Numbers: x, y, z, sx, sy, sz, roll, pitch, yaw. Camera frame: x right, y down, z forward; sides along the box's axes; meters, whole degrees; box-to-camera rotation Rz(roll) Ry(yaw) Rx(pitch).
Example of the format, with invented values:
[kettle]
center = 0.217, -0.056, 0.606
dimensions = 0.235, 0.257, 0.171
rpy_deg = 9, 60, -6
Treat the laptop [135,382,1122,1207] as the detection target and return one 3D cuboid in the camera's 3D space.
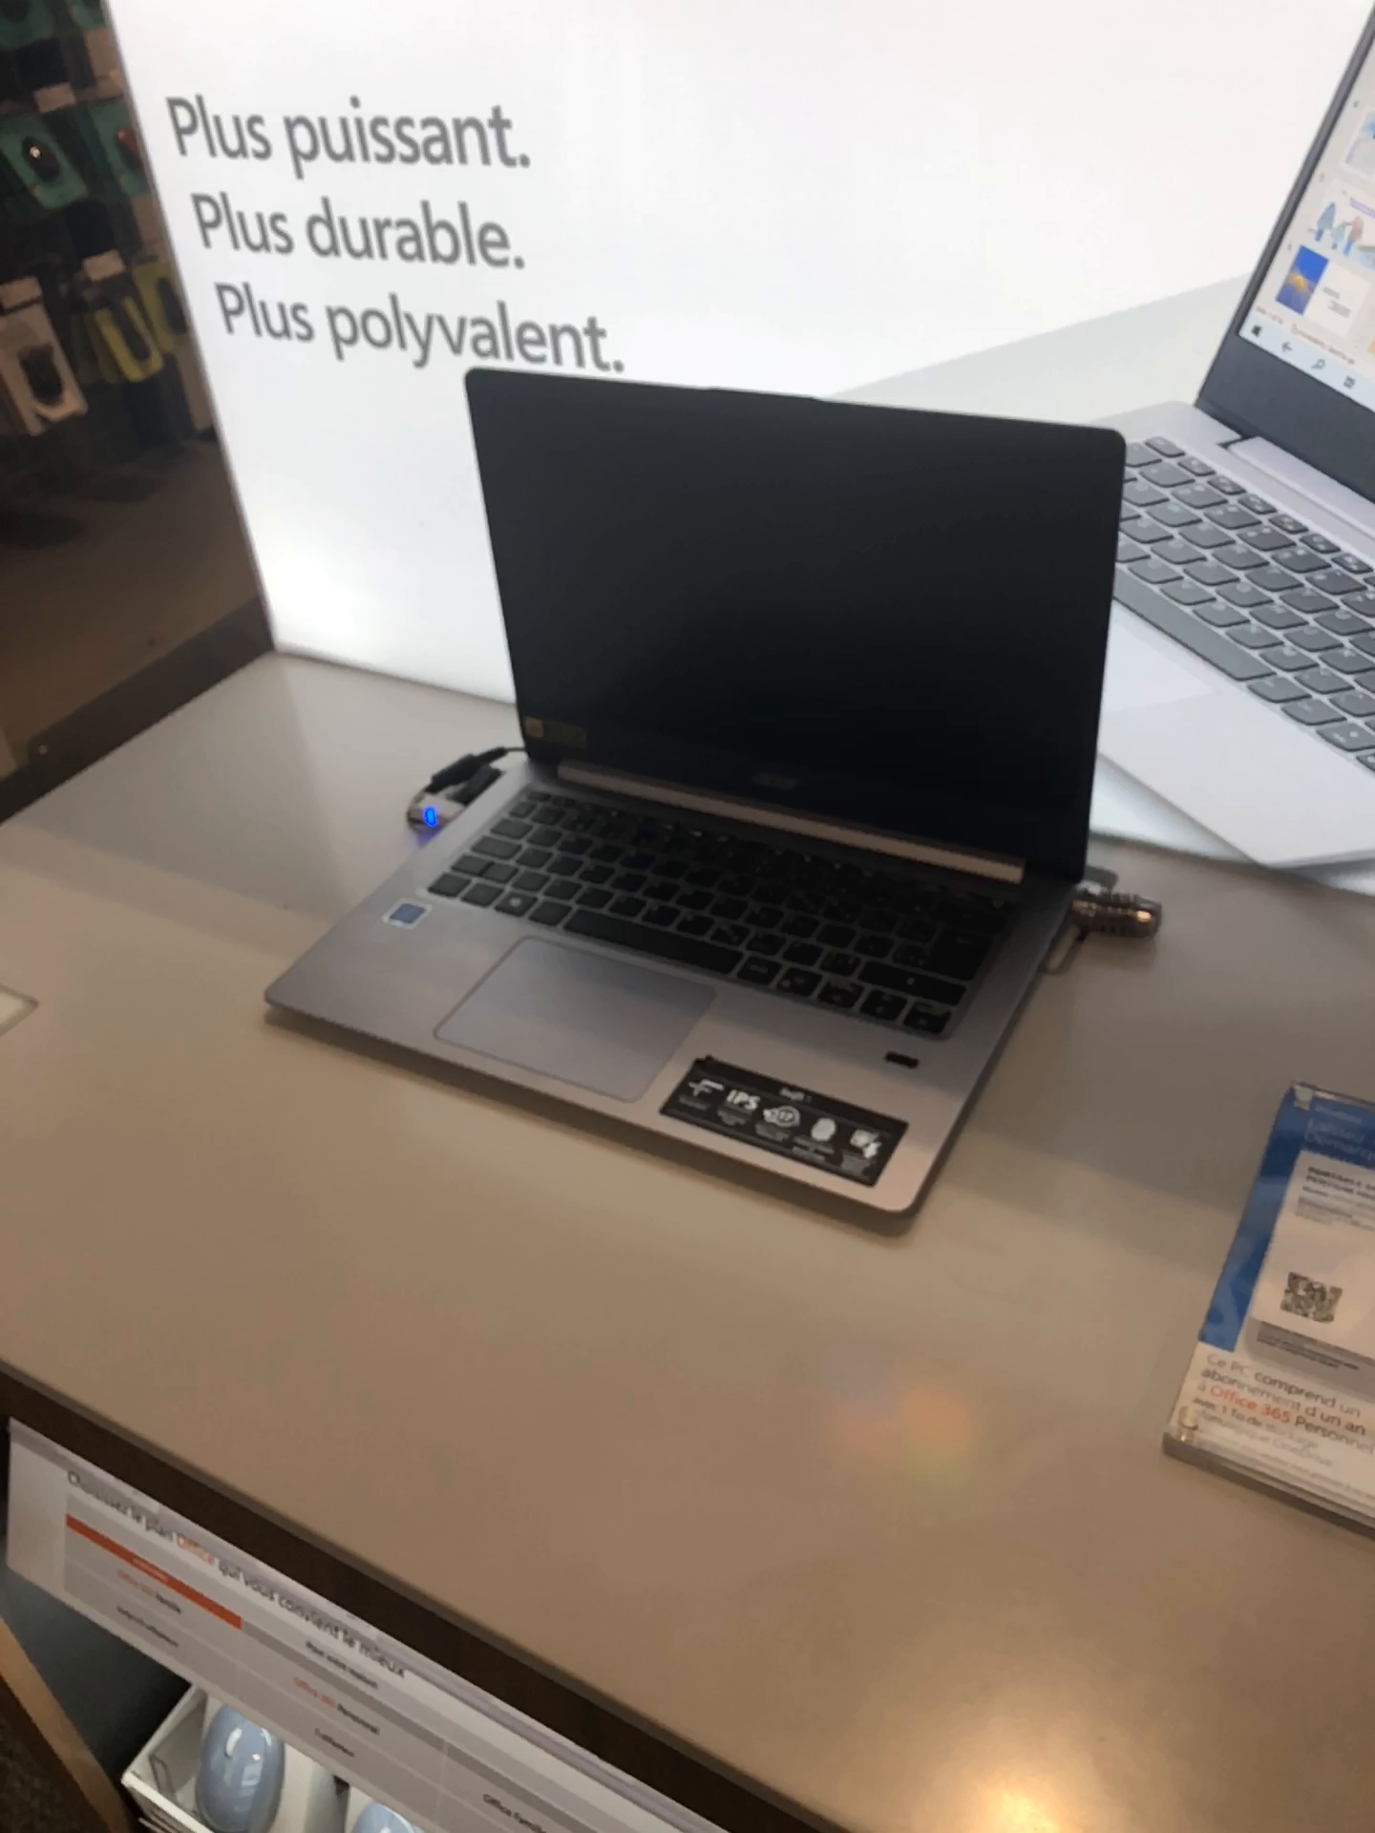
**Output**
[laptop]
center = -0.012, -0.074, 0.649
dimensions = 0.311, 0.210, 0.226
rpy_deg = 15, 41, 25
